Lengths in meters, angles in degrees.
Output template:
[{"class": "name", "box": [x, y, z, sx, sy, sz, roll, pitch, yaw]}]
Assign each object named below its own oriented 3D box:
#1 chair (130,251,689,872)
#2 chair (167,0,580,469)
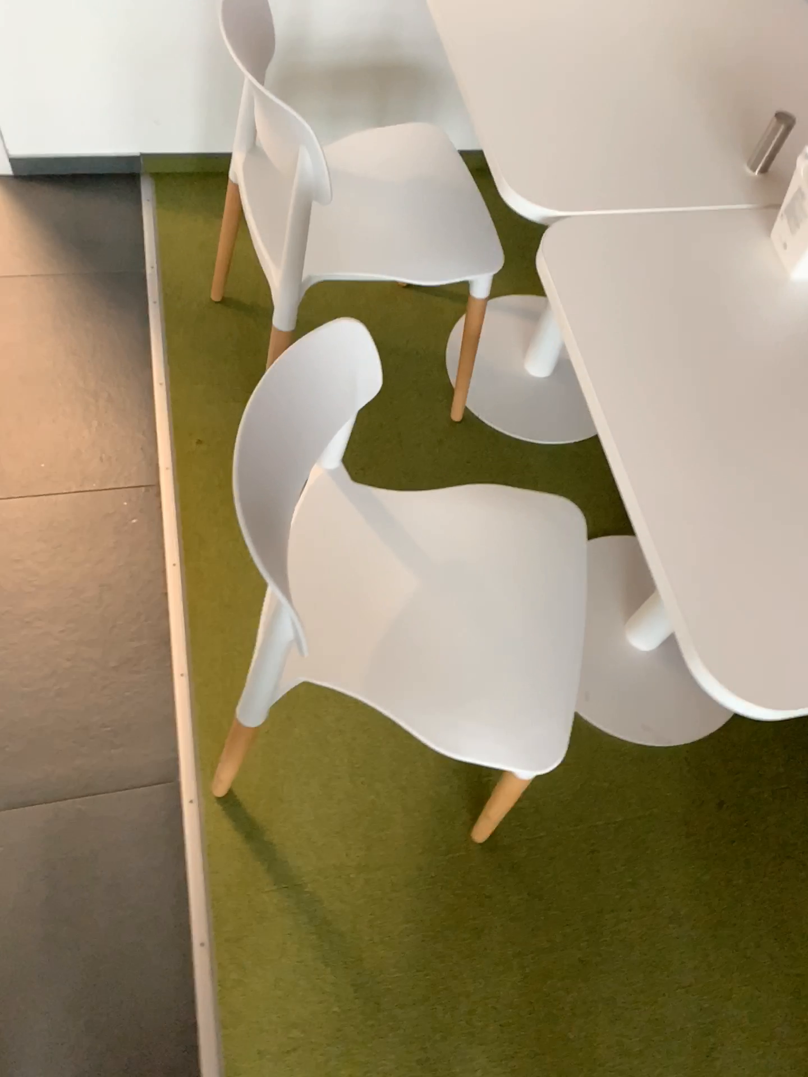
[{"class": "chair", "box": [0.001, 0.107, 1.206, 0.500, 0.748, 0.511, 15, 60, 0]}, {"class": "chair", "box": [-0.108, -0.610, 1.606, 0.510, 0.728, 0.561, -12, 64, -15]}]
